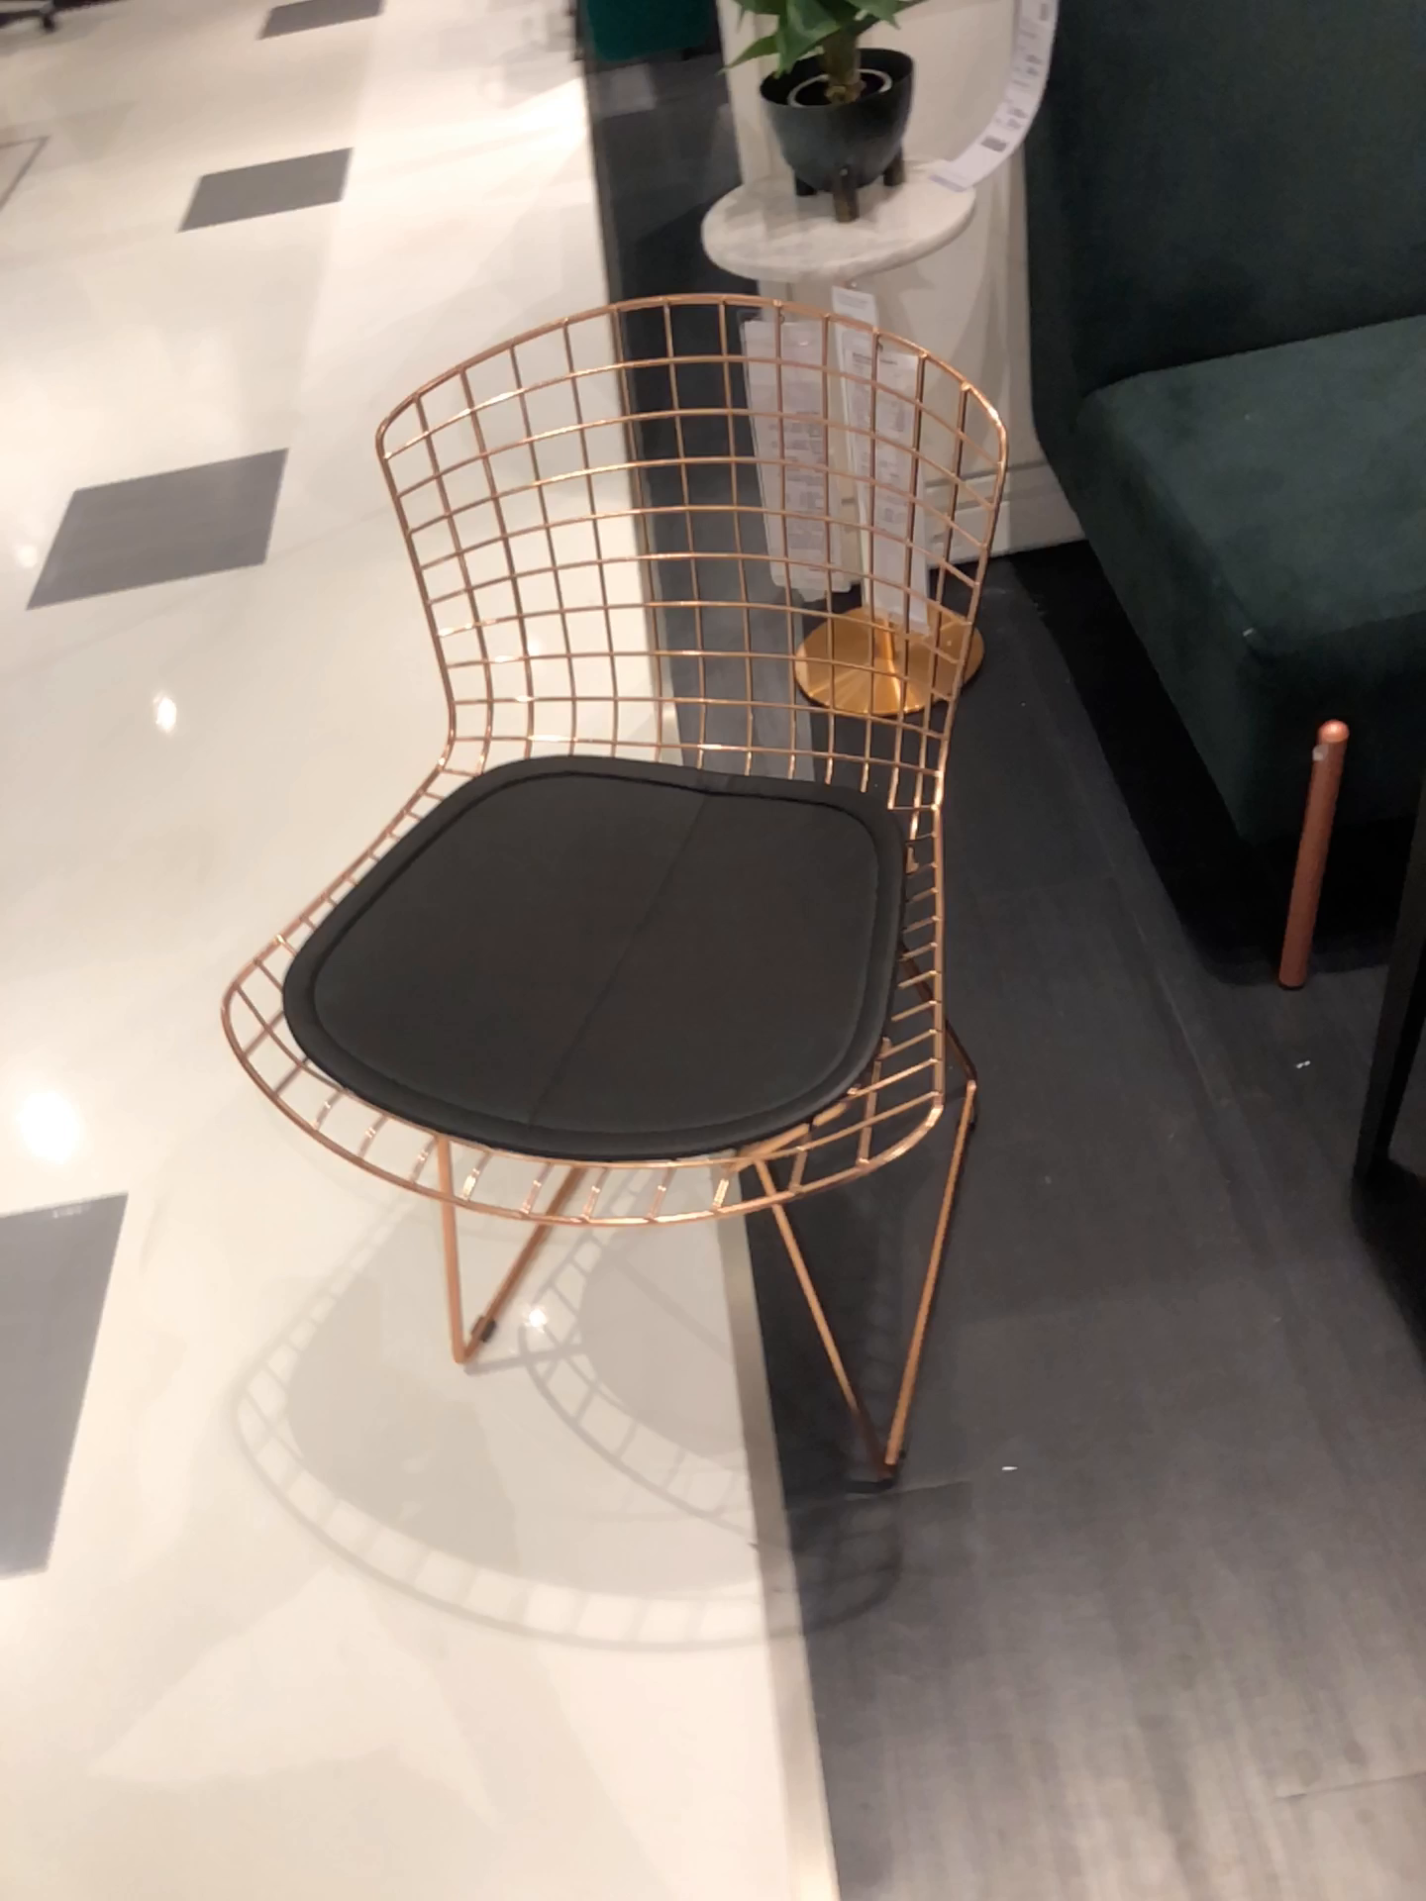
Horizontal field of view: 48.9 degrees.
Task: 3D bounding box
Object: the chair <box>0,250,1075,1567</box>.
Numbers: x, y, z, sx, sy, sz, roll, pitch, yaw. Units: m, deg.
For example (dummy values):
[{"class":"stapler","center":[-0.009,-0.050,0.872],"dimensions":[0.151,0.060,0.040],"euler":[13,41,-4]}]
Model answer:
[{"class":"chair","center":[-0.040,-0.026,1.171],"dimensions":[0.521,0.744,0.544],"euler":[7,47,20]}]
